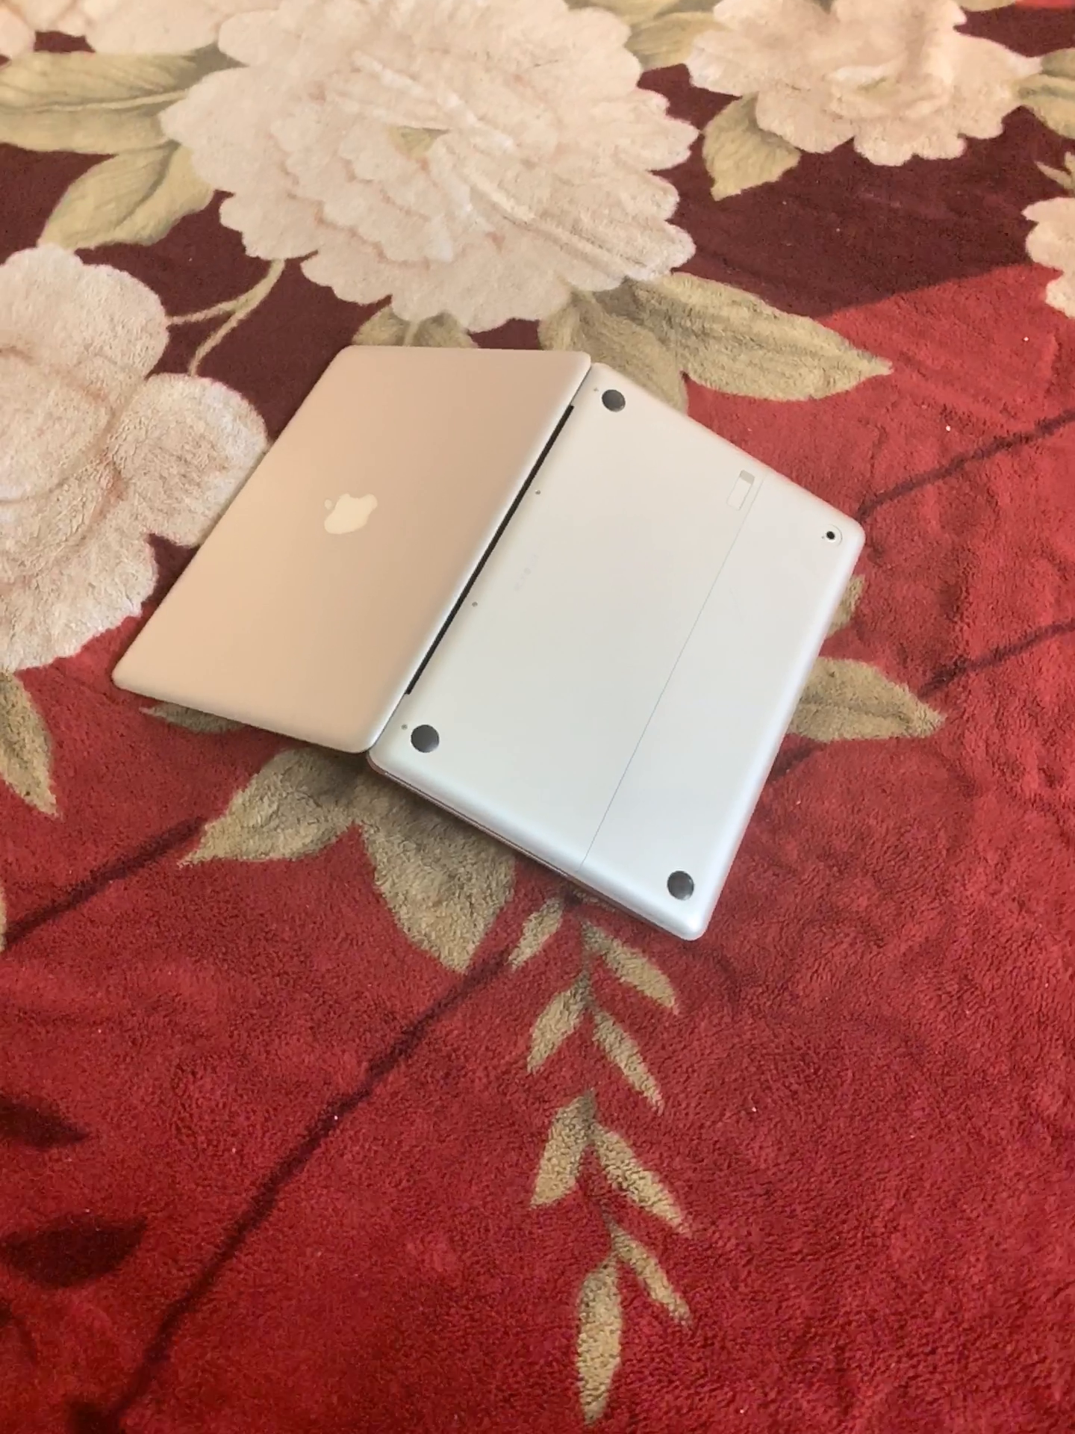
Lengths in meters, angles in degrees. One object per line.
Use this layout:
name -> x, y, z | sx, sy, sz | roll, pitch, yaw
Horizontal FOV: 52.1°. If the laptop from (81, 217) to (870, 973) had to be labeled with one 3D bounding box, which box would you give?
laptop -> -0.008, -0.081, 0.703 | 0.390, 0.078, 0.317 | 29, 67, -5
